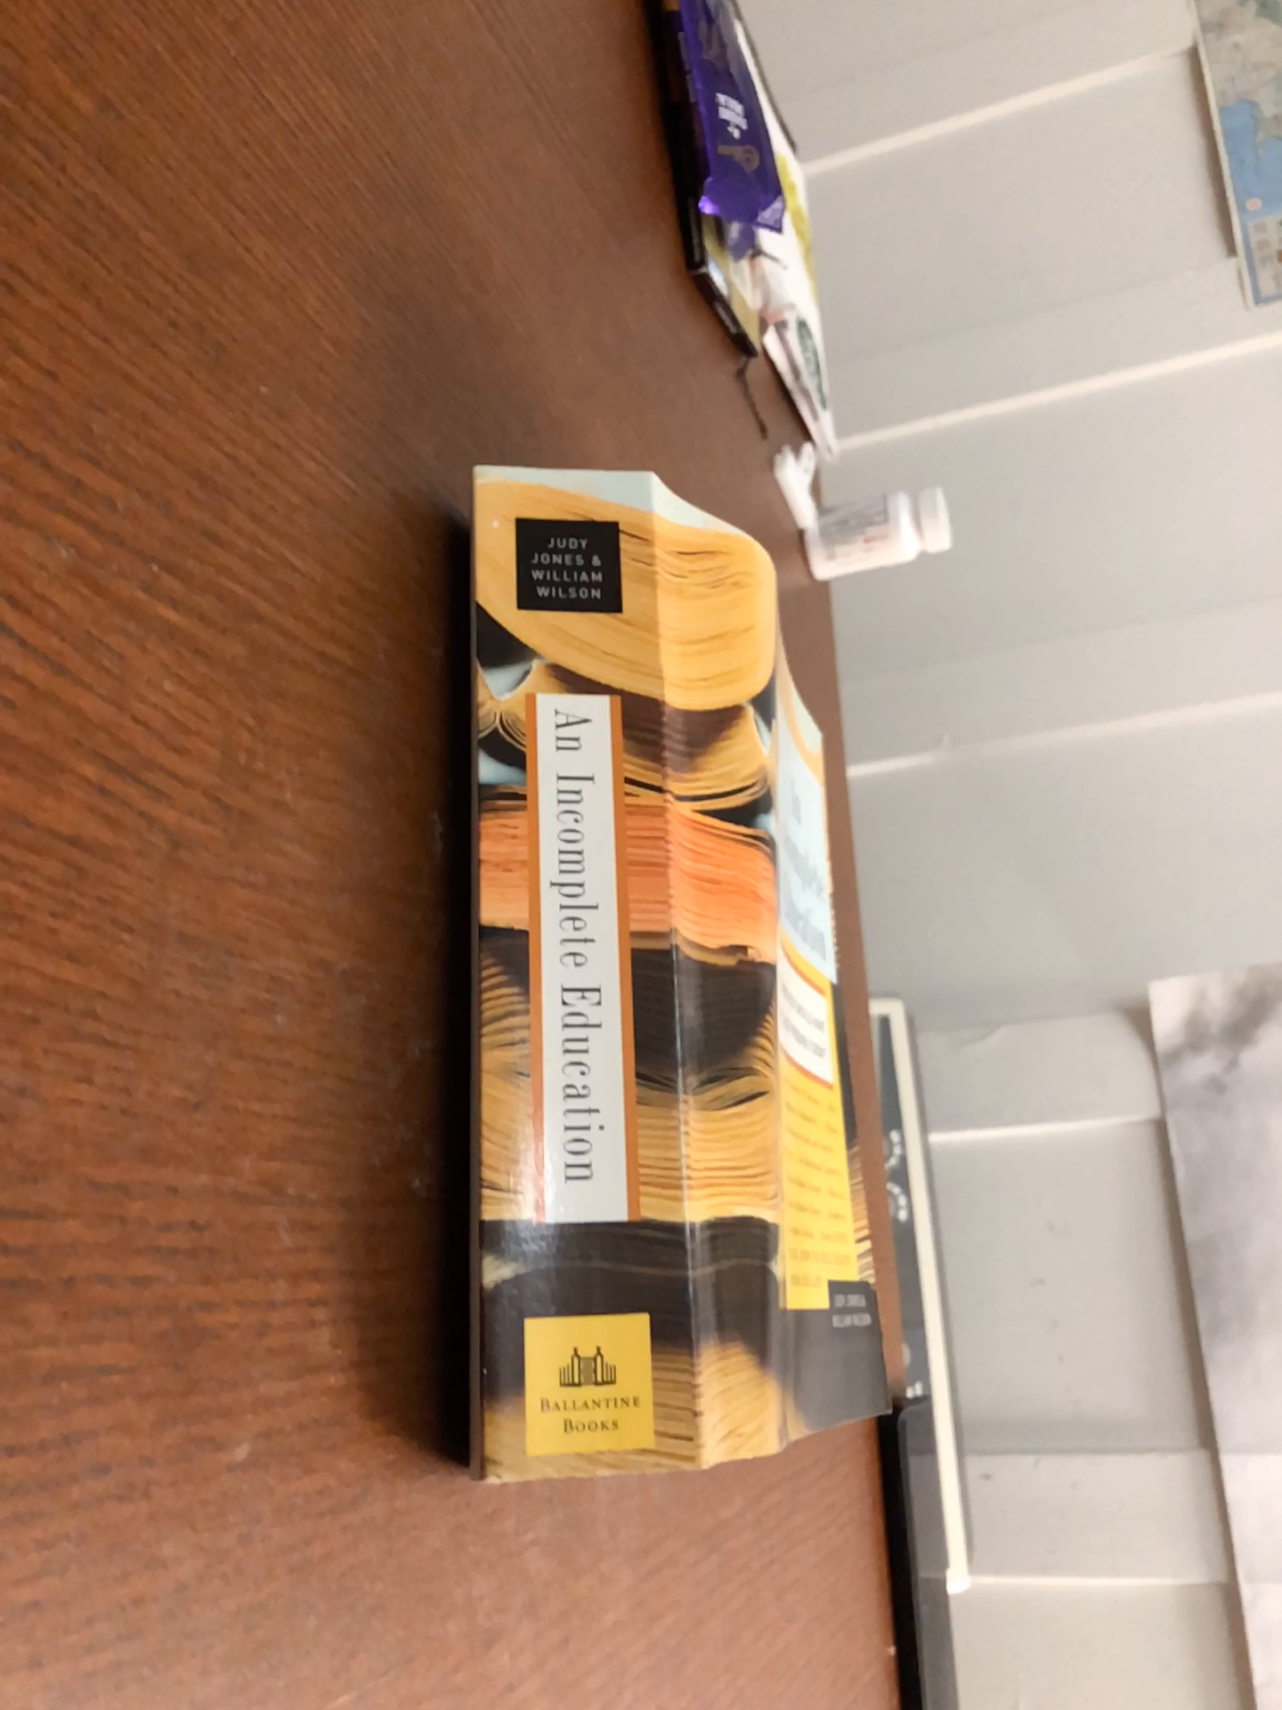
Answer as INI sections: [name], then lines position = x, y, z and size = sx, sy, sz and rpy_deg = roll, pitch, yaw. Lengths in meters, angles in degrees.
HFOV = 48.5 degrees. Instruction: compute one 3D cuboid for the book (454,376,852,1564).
[book]
position = 0.011, 0.040, 0.398
size = 0.210, 0.060, 0.250
rpy_deg = 54, 31, -70
